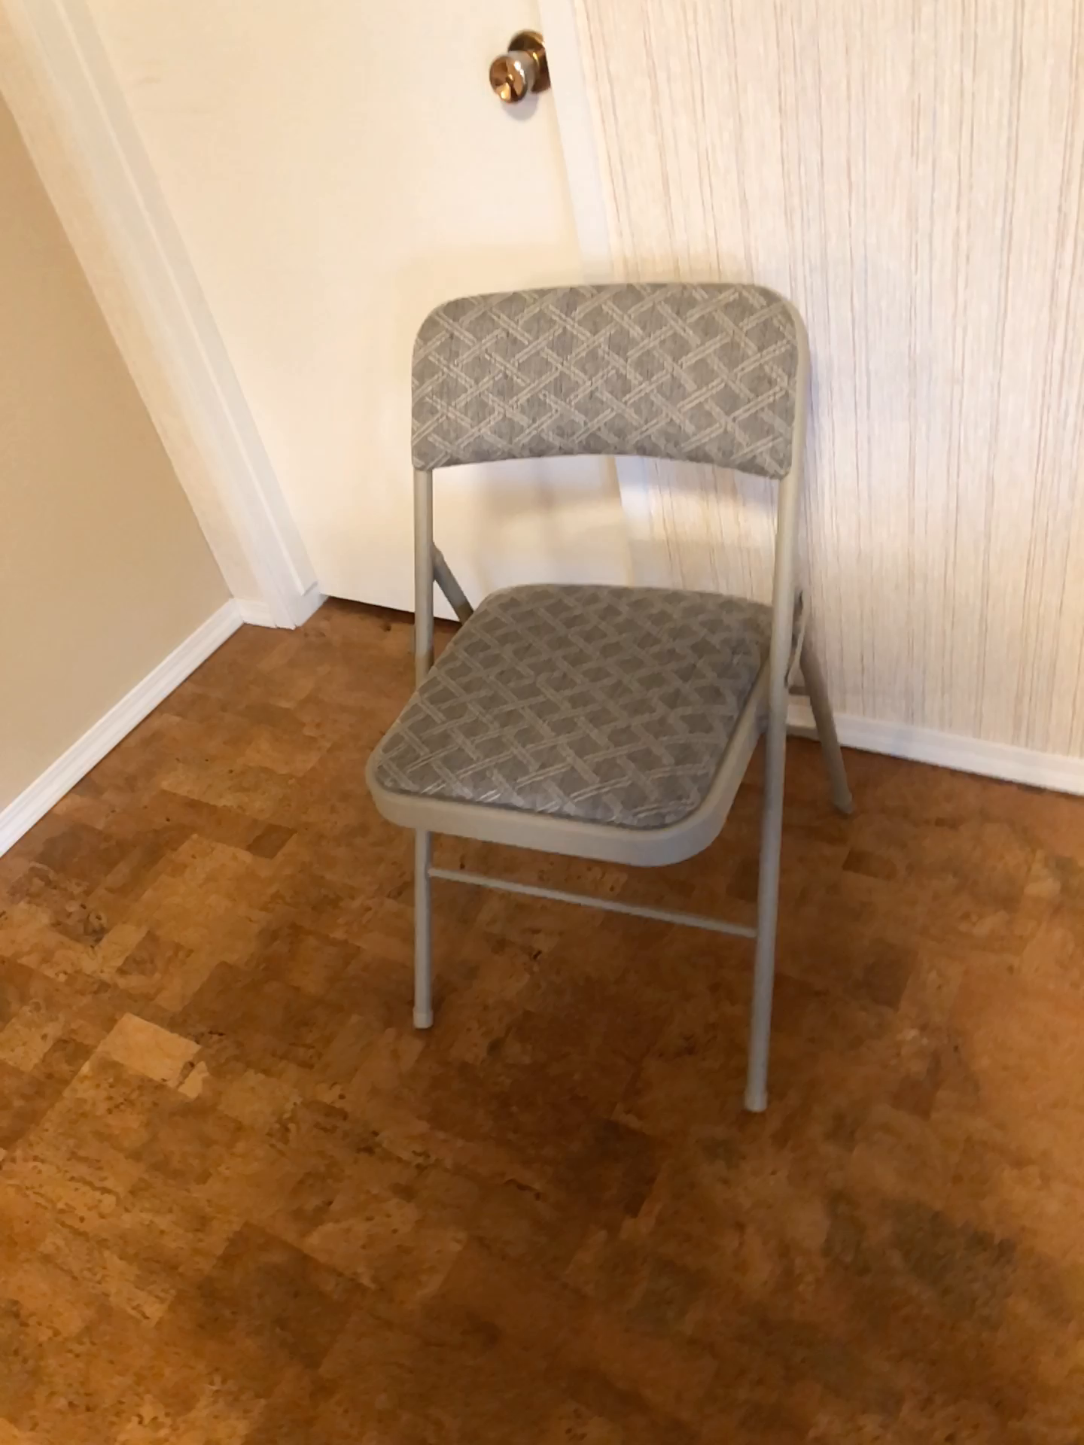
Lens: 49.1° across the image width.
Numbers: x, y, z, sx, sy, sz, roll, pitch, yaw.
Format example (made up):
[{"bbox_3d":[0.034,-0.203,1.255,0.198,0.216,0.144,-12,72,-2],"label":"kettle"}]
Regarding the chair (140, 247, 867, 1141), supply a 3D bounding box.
[{"bbox_3d":[0.057,-0.032,1.341,0.491,0.758,0.561,7,45,24],"label":"chair"}]
